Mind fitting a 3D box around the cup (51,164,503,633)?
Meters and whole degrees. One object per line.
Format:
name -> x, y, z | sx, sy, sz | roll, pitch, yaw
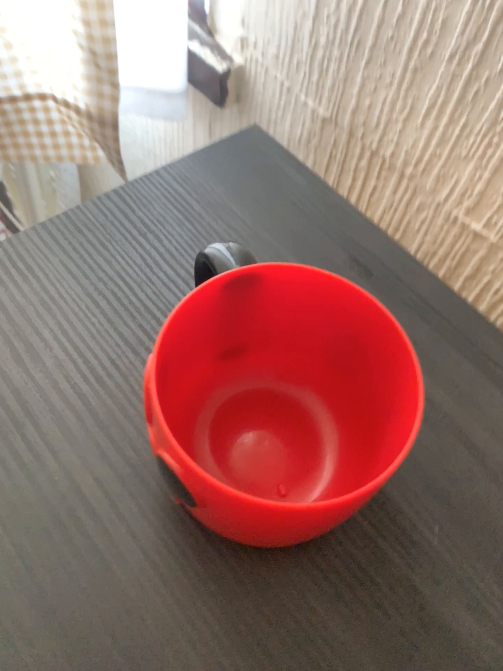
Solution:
cup -> 0.000, 0.017, 0.194 | 0.100, 0.069, 0.131 | -19, 62, -17
